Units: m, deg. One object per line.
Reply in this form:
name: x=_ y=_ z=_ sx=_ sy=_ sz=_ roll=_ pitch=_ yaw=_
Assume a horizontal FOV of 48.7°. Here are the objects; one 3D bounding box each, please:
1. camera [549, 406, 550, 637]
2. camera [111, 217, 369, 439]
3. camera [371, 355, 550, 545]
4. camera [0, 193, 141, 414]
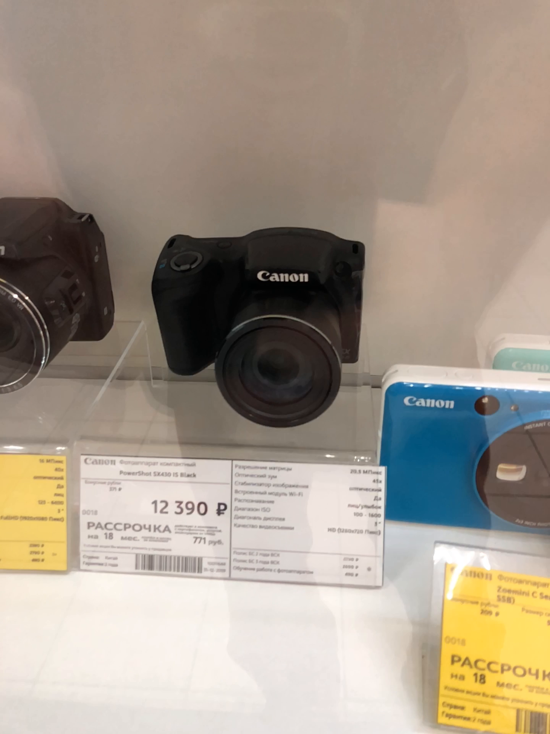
camera: x=0.175 y=0.057 z=0.227 sx=0.118 sy=0.073 sz=0.028 roll=3 pitch=29 yaw=8
camera: x=-0.009 y=-0.024 z=0.290 sx=0.100 sy=0.070 sz=0.093 roll=2 pitch=29 yaw=6
camera: x=0.105 y=0.037 z=0.273 sx=0.118 sy=0.073 sz=0.028 roll=3 pitch=29 yaw=8
camera: x=-0.132 y=-0.036 z=0.293 sx=0.100 sy=0.073 sz=0.093 roll=2 pitch=29 yaw=6
